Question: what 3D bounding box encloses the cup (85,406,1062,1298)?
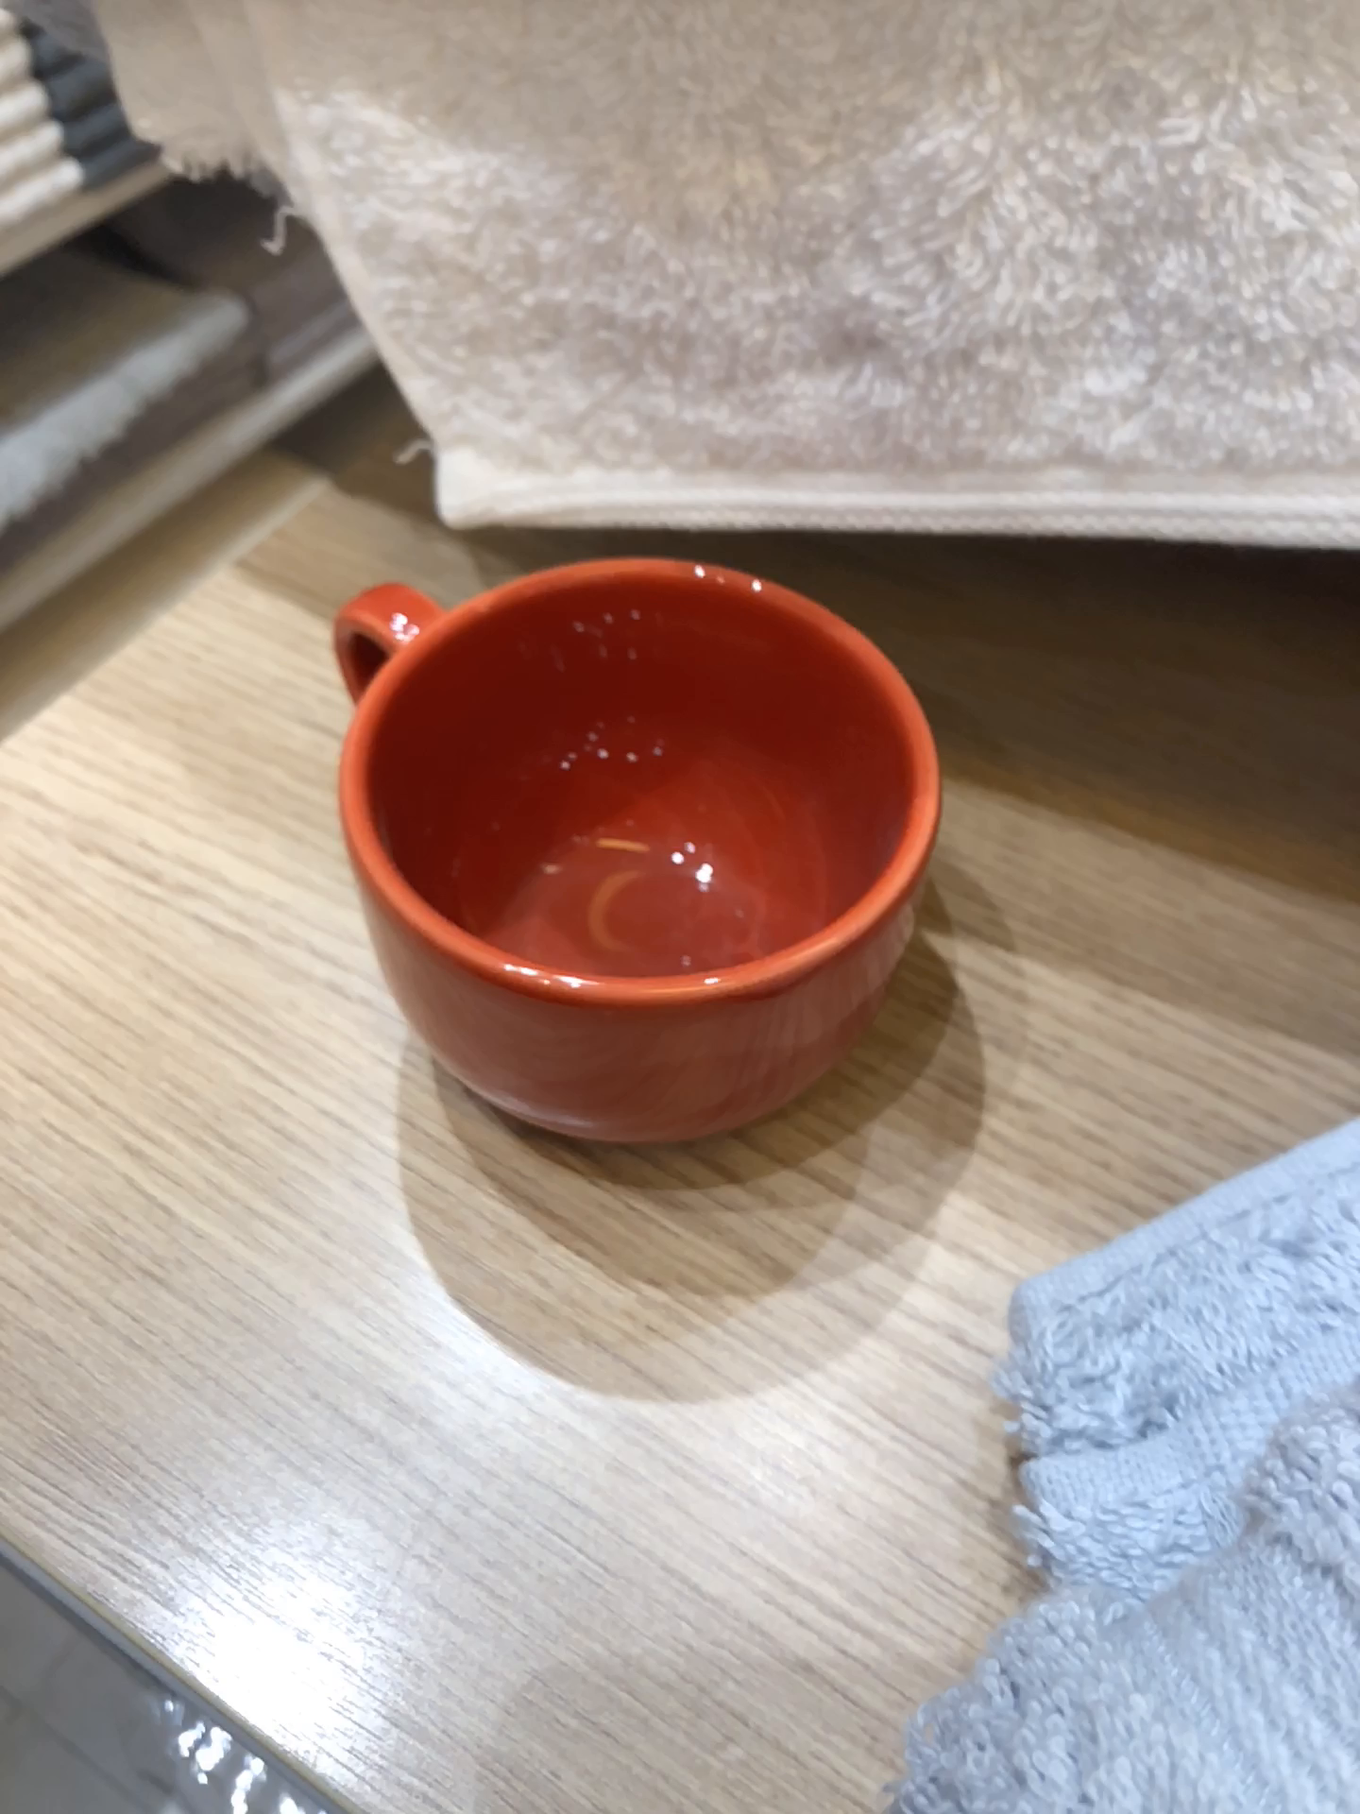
[{"bbox_3d":[-0.014,-0.013,0.221,0.100,0.050,0.080,33,58,22],"label":"cup"}]
